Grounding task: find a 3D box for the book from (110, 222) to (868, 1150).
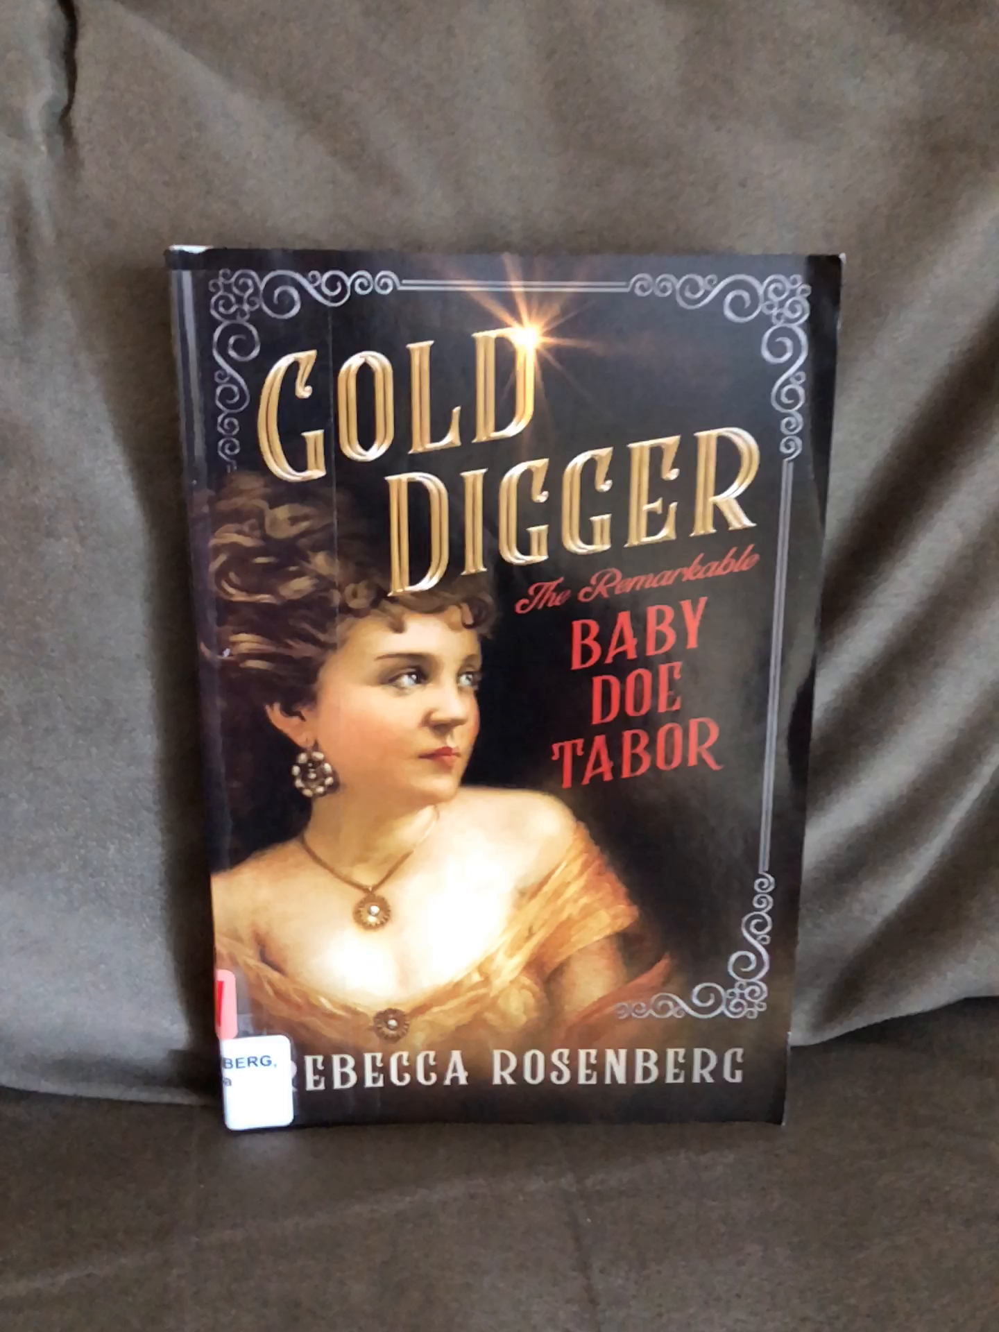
[{"bbox_3d":[-0.001,0.009,0.252,0.150,0.200,0.030,-1,10,0],"label":"book"}]
